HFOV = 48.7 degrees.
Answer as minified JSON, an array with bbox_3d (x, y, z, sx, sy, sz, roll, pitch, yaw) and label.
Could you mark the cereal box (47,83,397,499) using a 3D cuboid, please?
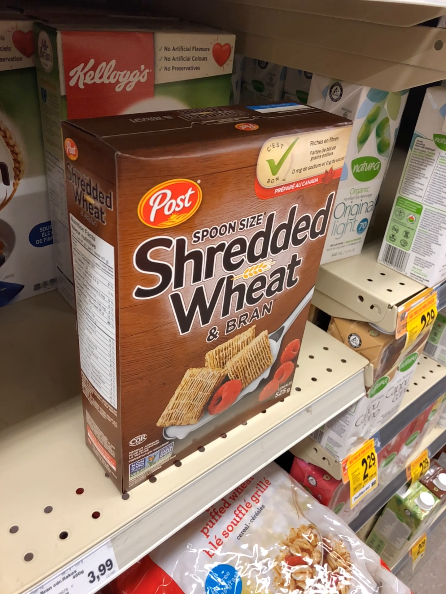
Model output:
[{"bbox_3d":[0.001,-0.011,0.357,0.211,0.248,0.070,-21,42,-35],"label":"cereal box"}]
